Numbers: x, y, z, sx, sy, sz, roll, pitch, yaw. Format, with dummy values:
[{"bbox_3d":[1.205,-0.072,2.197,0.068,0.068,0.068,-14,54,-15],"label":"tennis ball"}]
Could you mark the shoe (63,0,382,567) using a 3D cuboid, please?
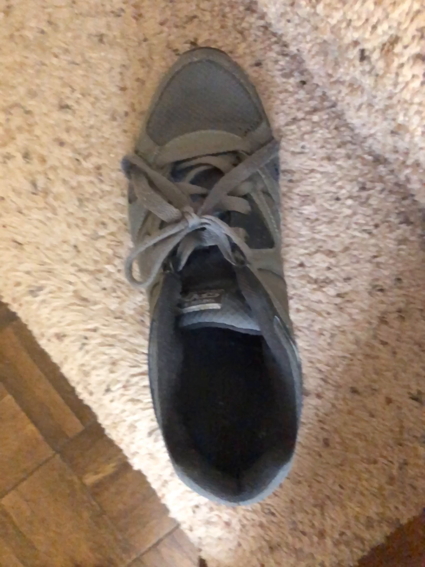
[{"bbox_3d":[0.003,-0.012,0.283,0.110,0.140,0.300,-6,87,1],"label":"shoe"}]
